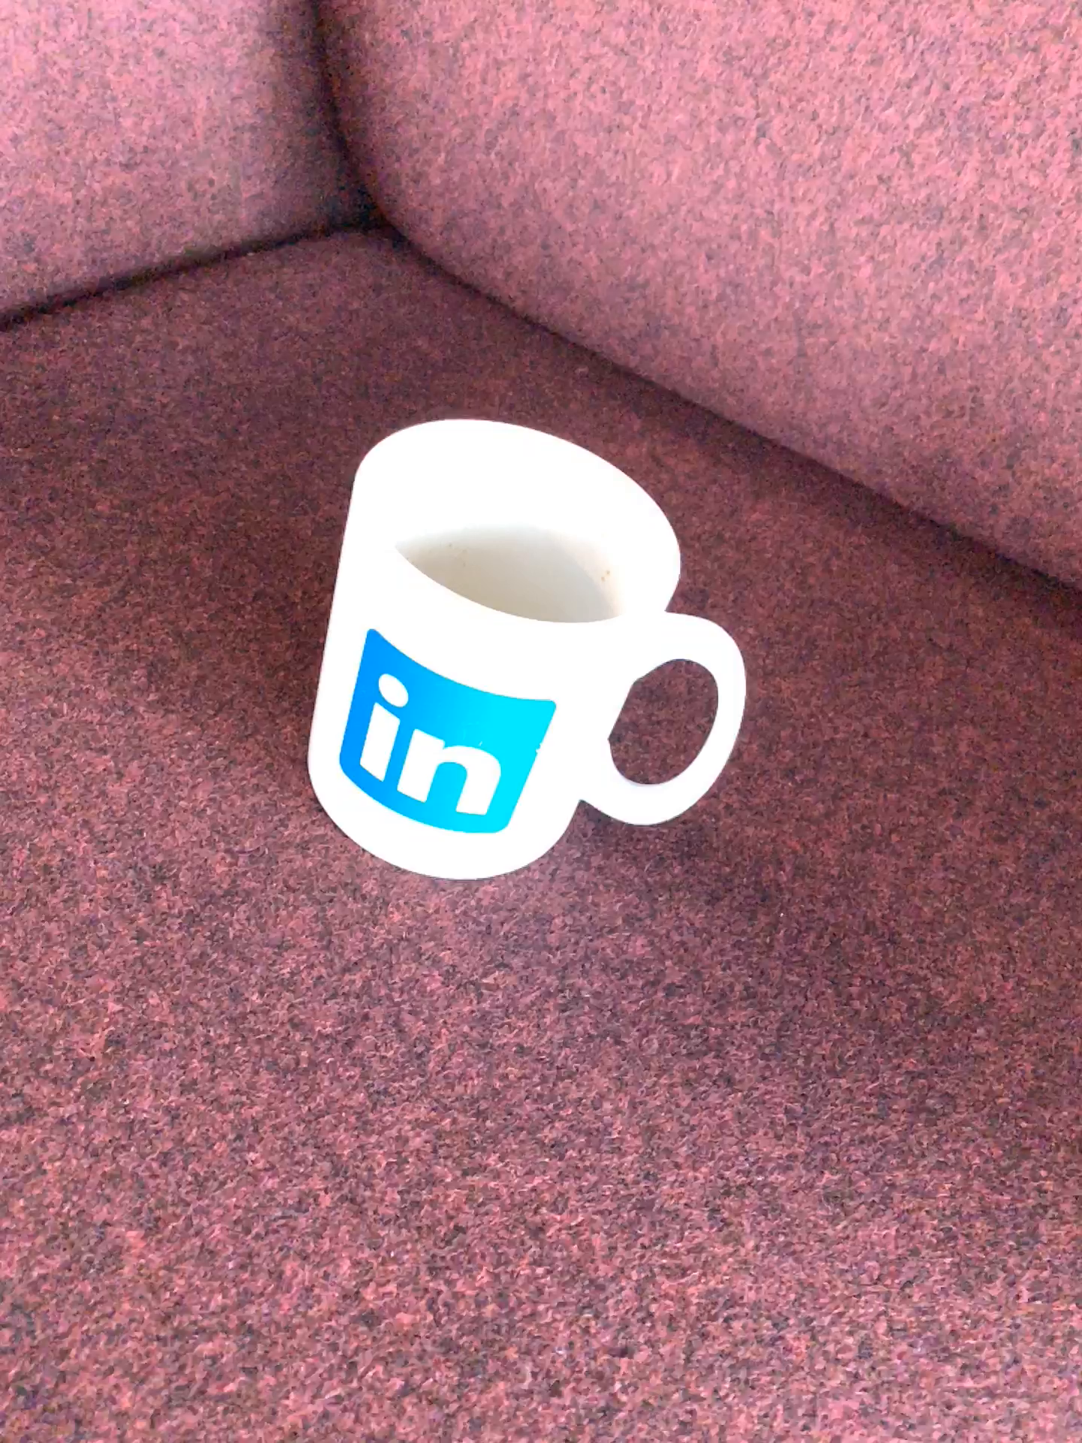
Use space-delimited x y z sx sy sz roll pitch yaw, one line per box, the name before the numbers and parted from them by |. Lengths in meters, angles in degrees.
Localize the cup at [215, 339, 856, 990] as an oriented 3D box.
cup | -0.004 -0.018 0.284 0.120 0.089 0.091 26 43 10
